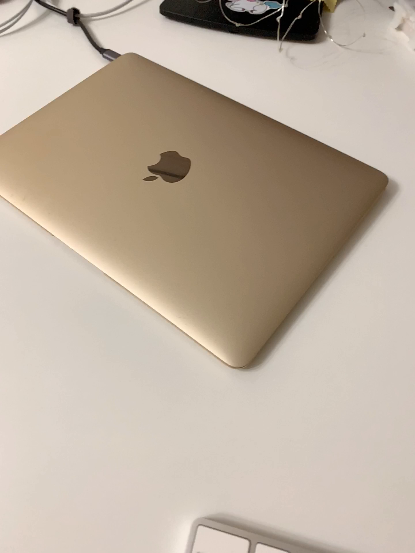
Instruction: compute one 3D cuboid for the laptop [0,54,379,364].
[{"bbox_3d":[-0.030,-0.078,0.322,0.255,0.009,0.175,34,66,21],"label":"laptop"}]
